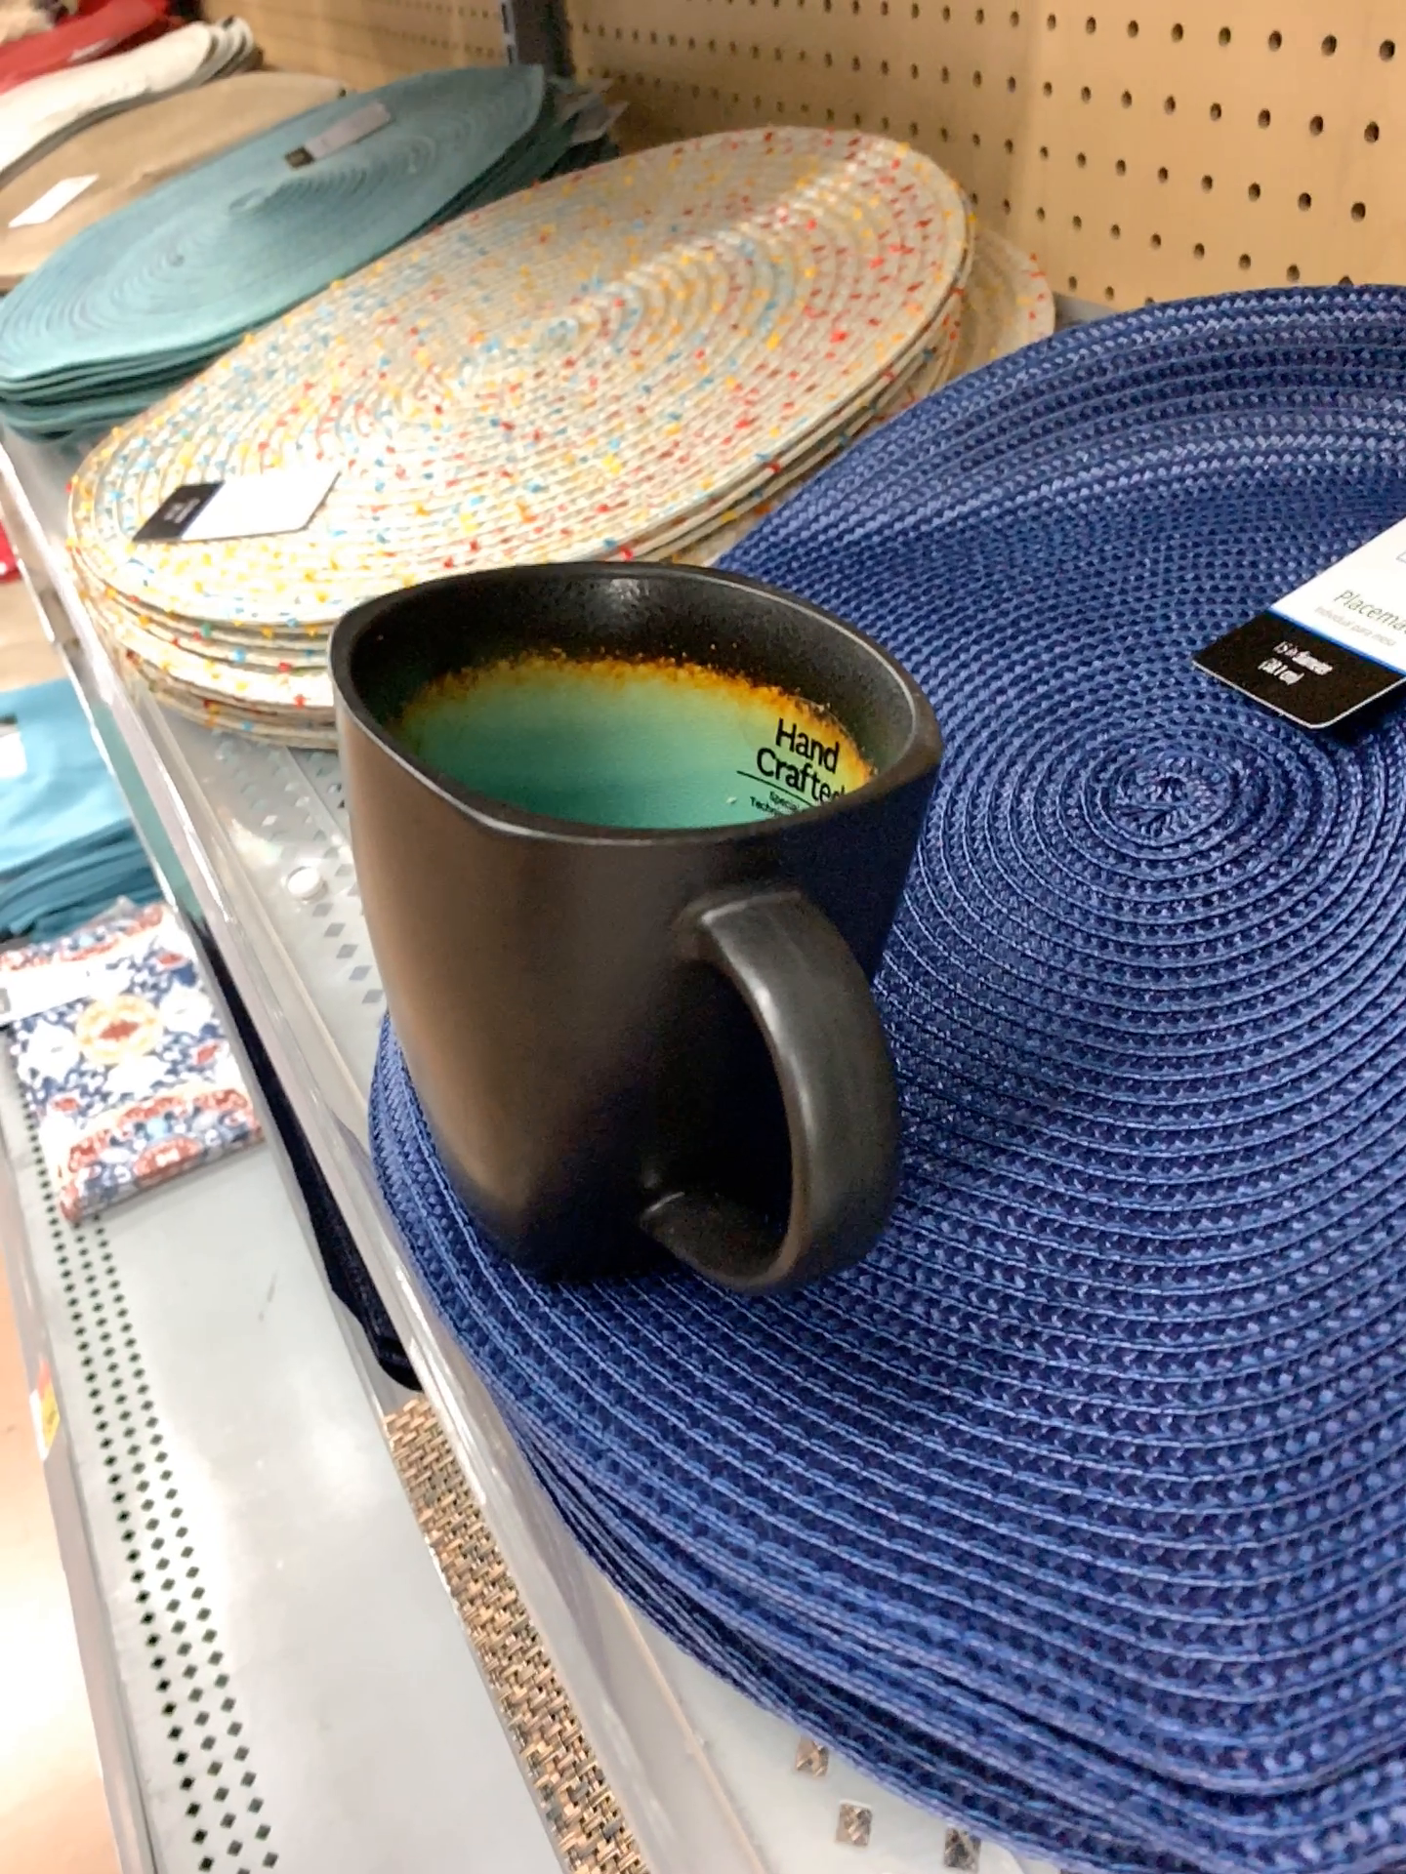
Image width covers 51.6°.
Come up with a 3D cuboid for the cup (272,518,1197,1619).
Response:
[{"bbox_3d":[-0.008,0.010,0.243,0.090,0.109,0.131,-12,37,-19],"label":"cup"}]
